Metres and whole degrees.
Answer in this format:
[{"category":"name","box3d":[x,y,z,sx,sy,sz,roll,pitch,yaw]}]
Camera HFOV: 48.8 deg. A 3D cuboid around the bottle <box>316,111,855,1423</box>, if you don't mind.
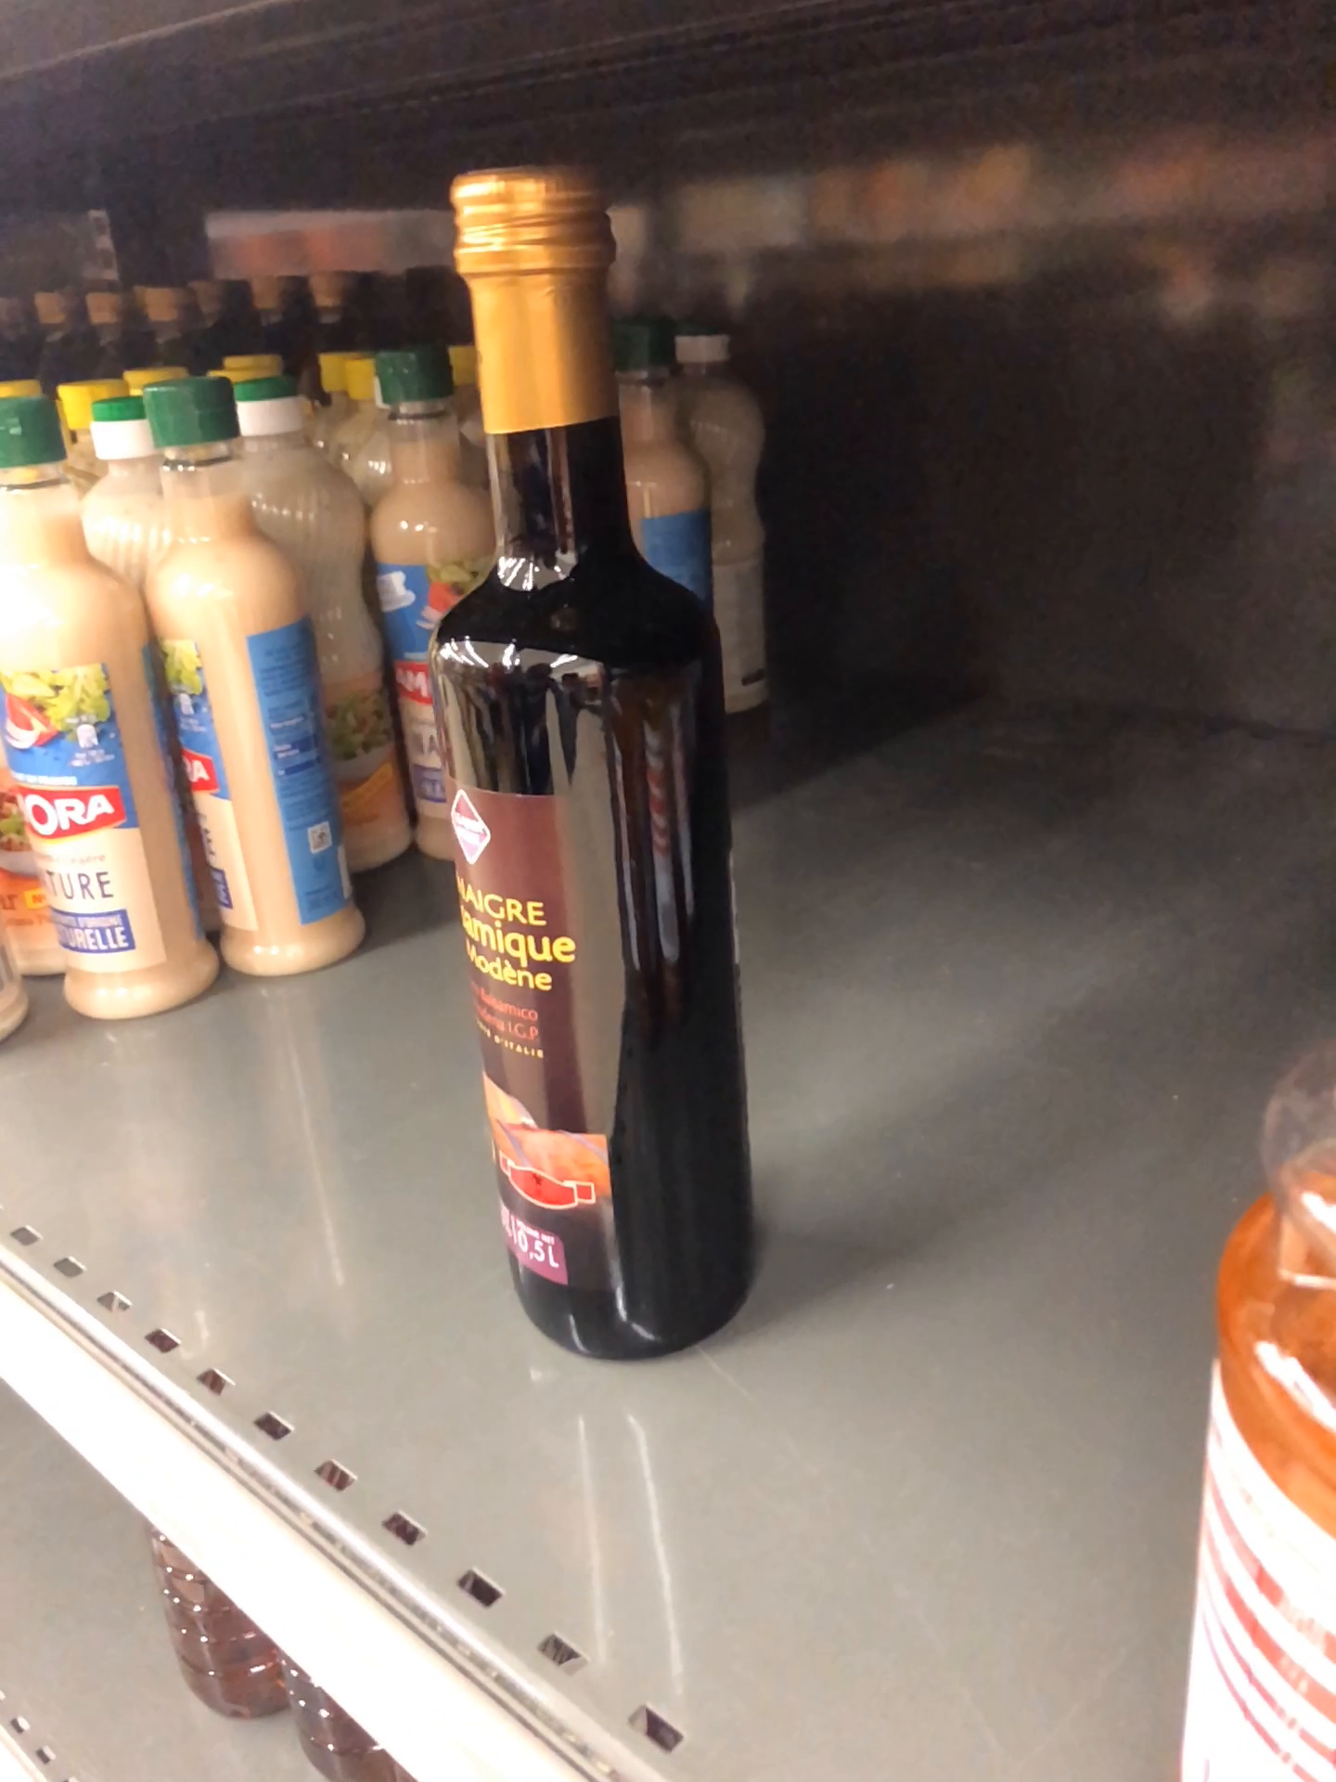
[{"category":"bottle","box3d":[-0.010,-0.021,0.333,0.070,0.269,0.070,-4,23,1]}]
